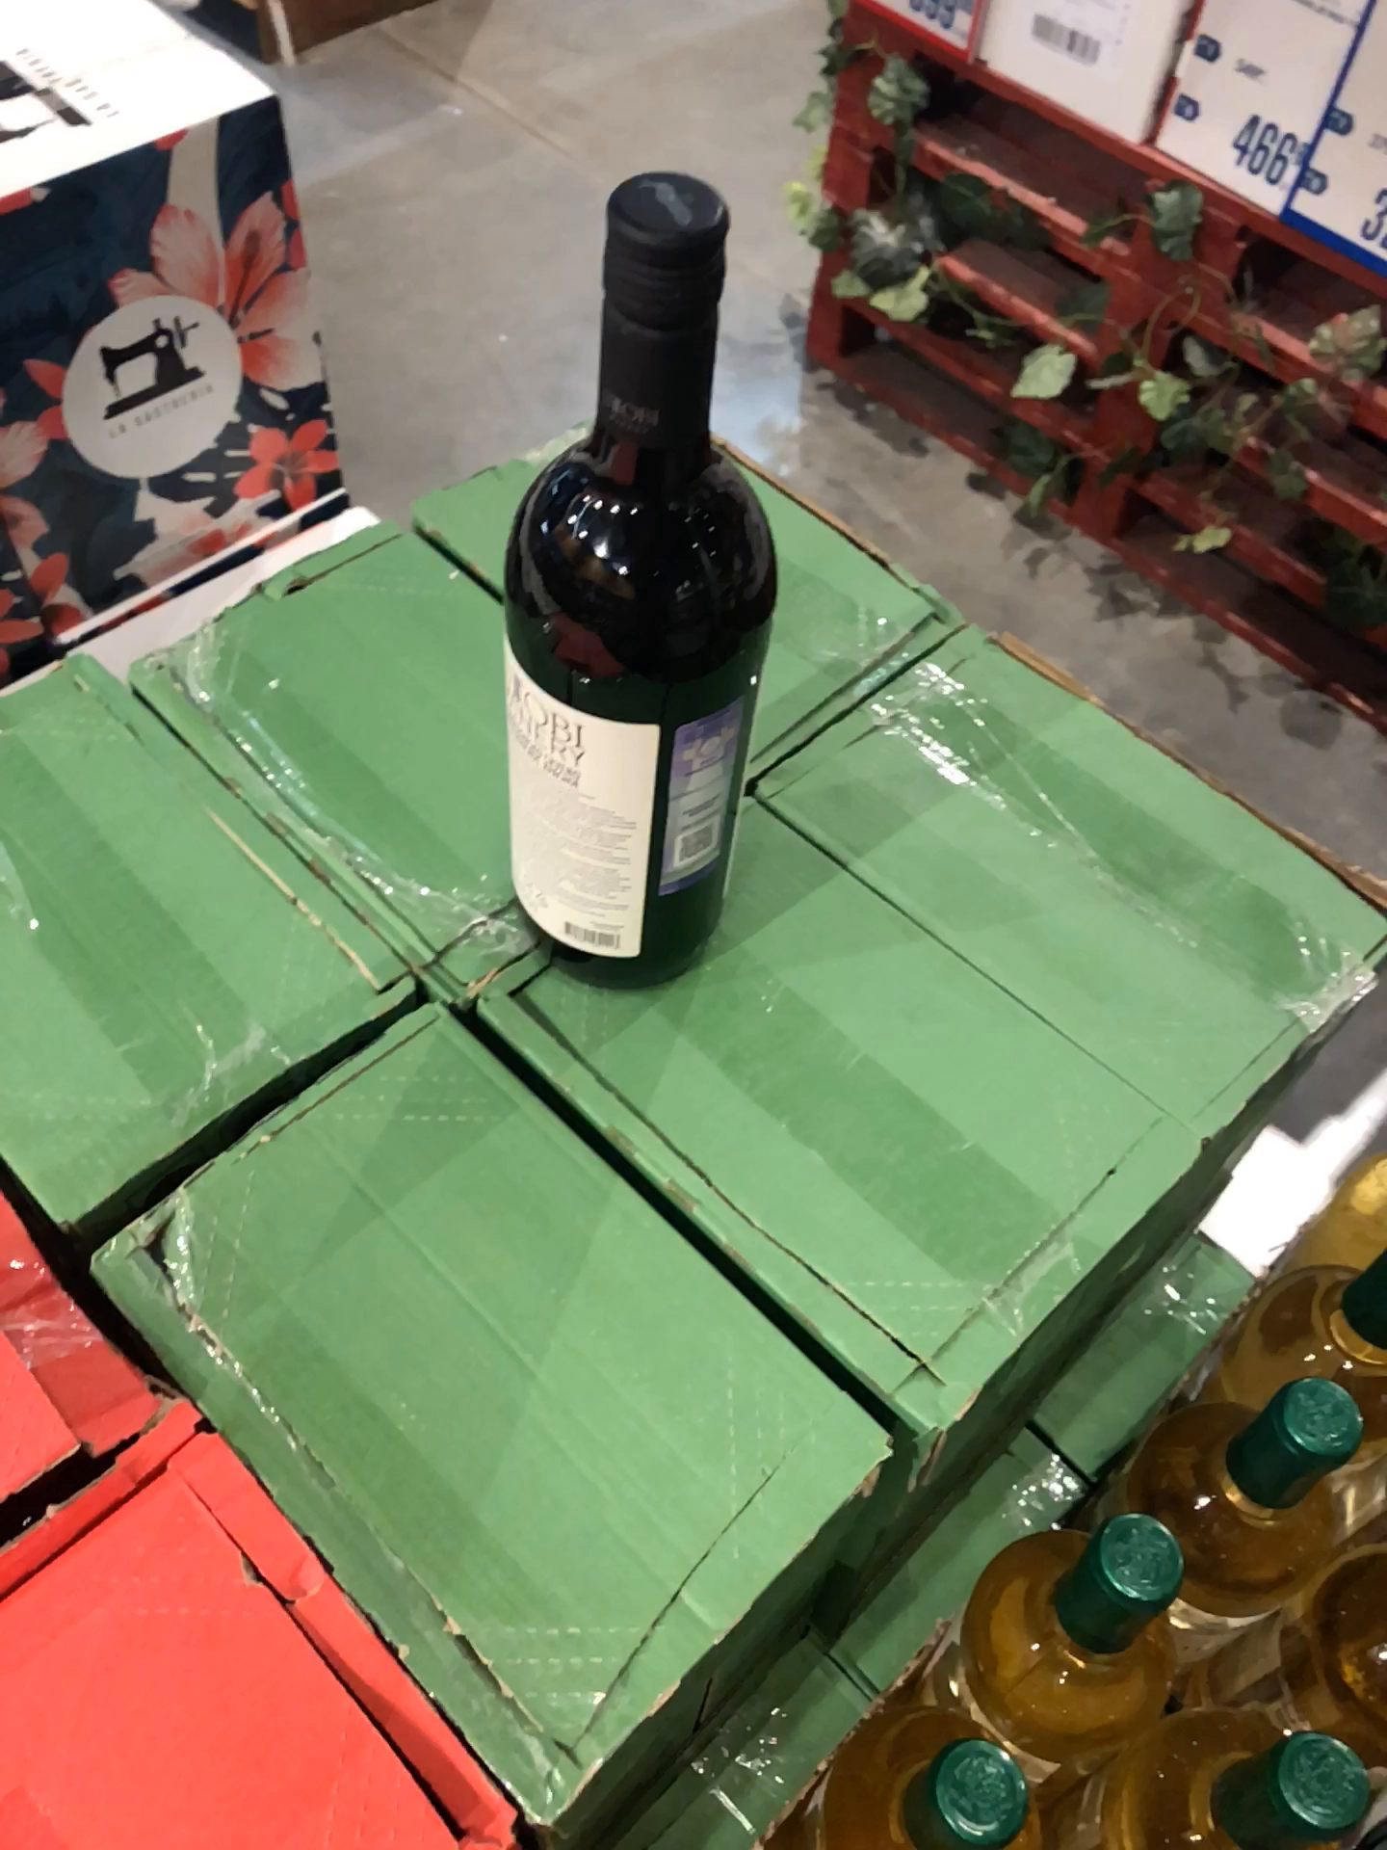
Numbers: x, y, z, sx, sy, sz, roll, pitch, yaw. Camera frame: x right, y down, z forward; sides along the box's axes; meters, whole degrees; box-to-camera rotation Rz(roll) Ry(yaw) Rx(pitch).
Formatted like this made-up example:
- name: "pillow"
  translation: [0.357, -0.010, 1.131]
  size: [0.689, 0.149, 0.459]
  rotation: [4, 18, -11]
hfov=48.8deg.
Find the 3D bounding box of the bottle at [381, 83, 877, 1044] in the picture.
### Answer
- name: "bottle"
  translation: [-0.023, -0.088, 0.484]
  size: [0.080, 0.288, 0.090]
  rotation: [-33, 63, -24]
